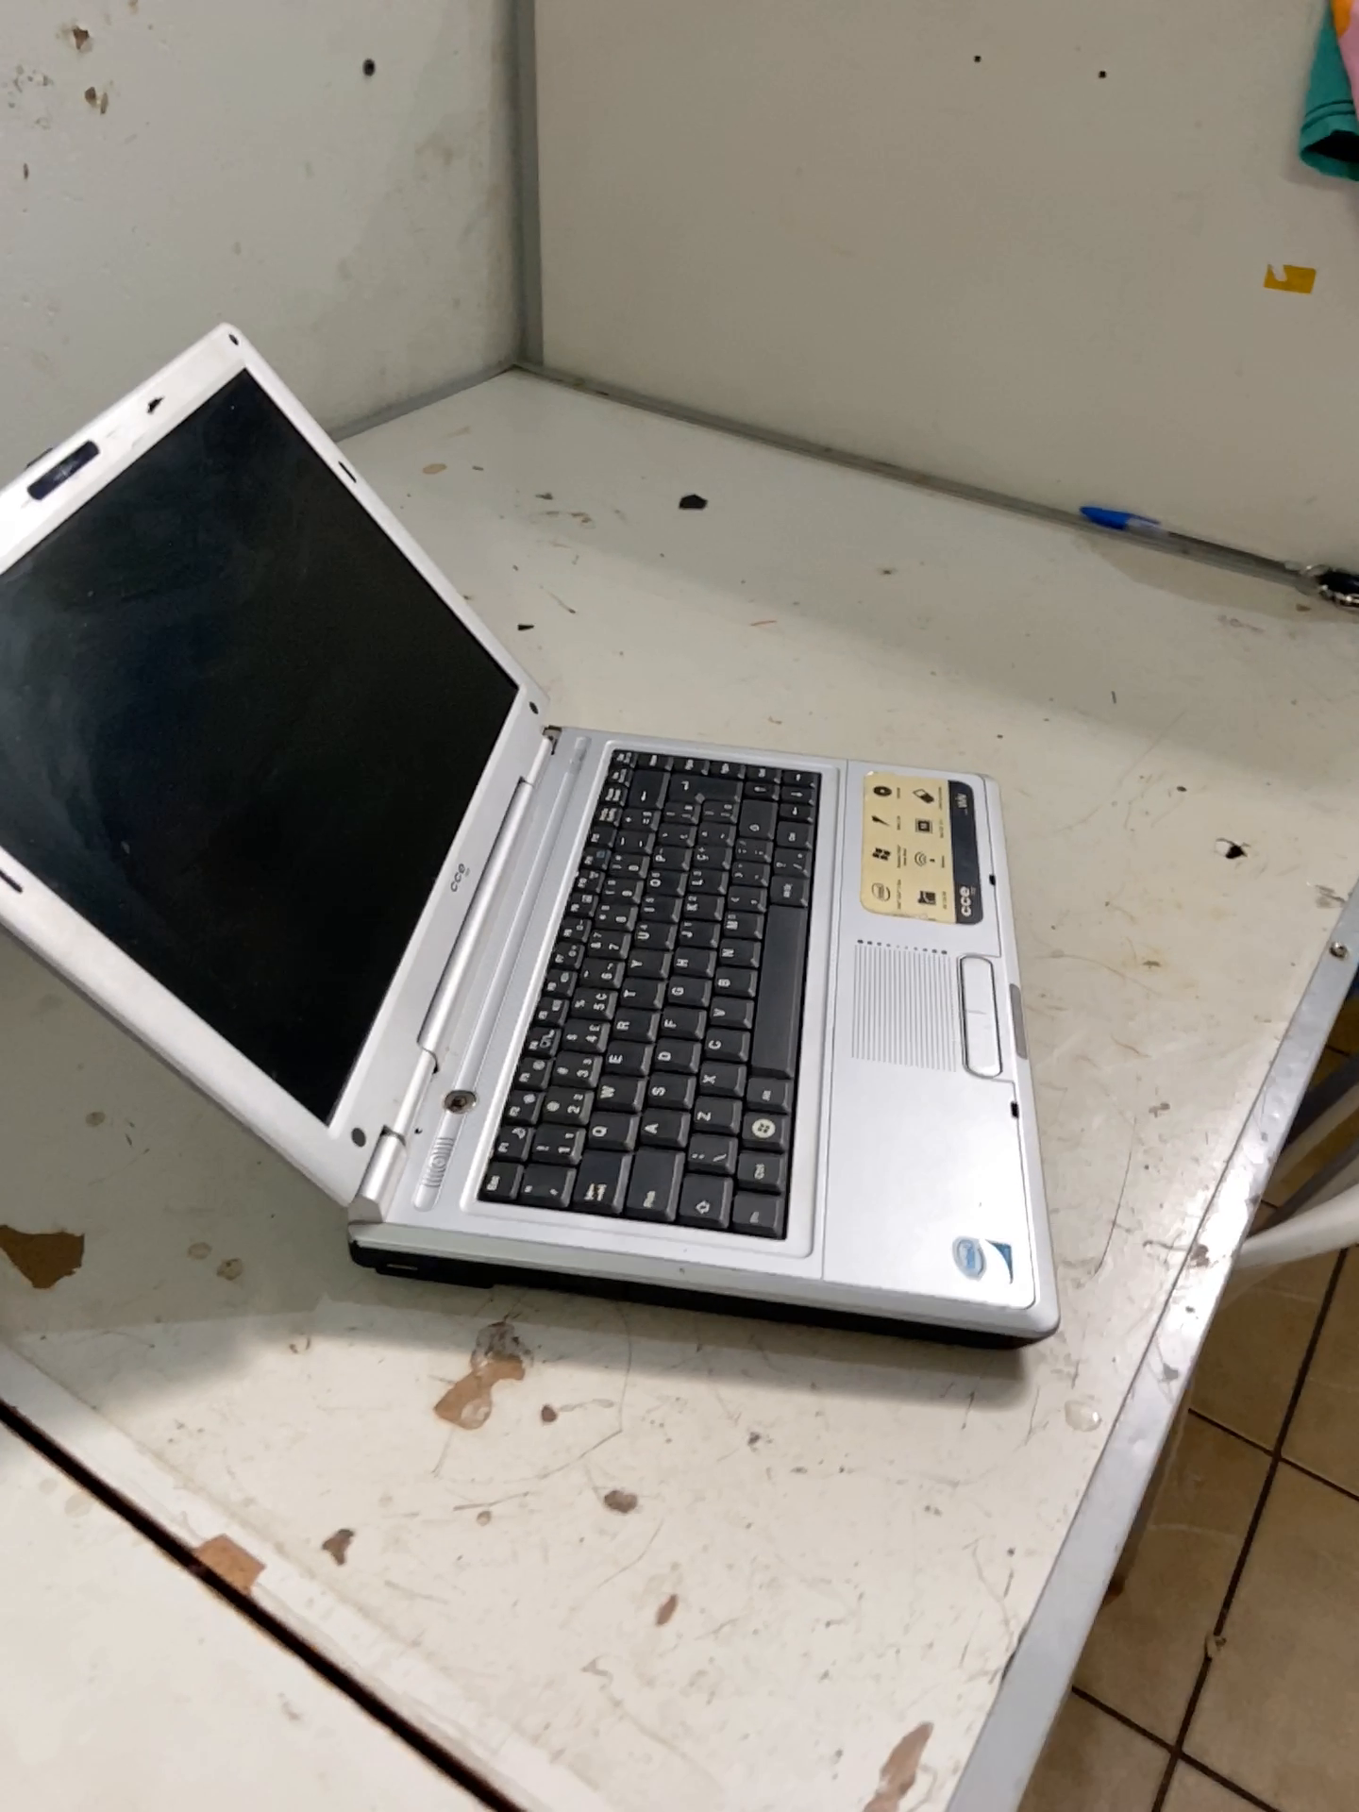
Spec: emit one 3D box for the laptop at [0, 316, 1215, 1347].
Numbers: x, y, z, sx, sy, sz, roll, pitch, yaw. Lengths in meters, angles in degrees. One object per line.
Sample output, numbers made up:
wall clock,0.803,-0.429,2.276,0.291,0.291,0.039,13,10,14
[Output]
laptop,-0.043,-0.060,0.542,0.387,0.190,0.340,7,39,3
